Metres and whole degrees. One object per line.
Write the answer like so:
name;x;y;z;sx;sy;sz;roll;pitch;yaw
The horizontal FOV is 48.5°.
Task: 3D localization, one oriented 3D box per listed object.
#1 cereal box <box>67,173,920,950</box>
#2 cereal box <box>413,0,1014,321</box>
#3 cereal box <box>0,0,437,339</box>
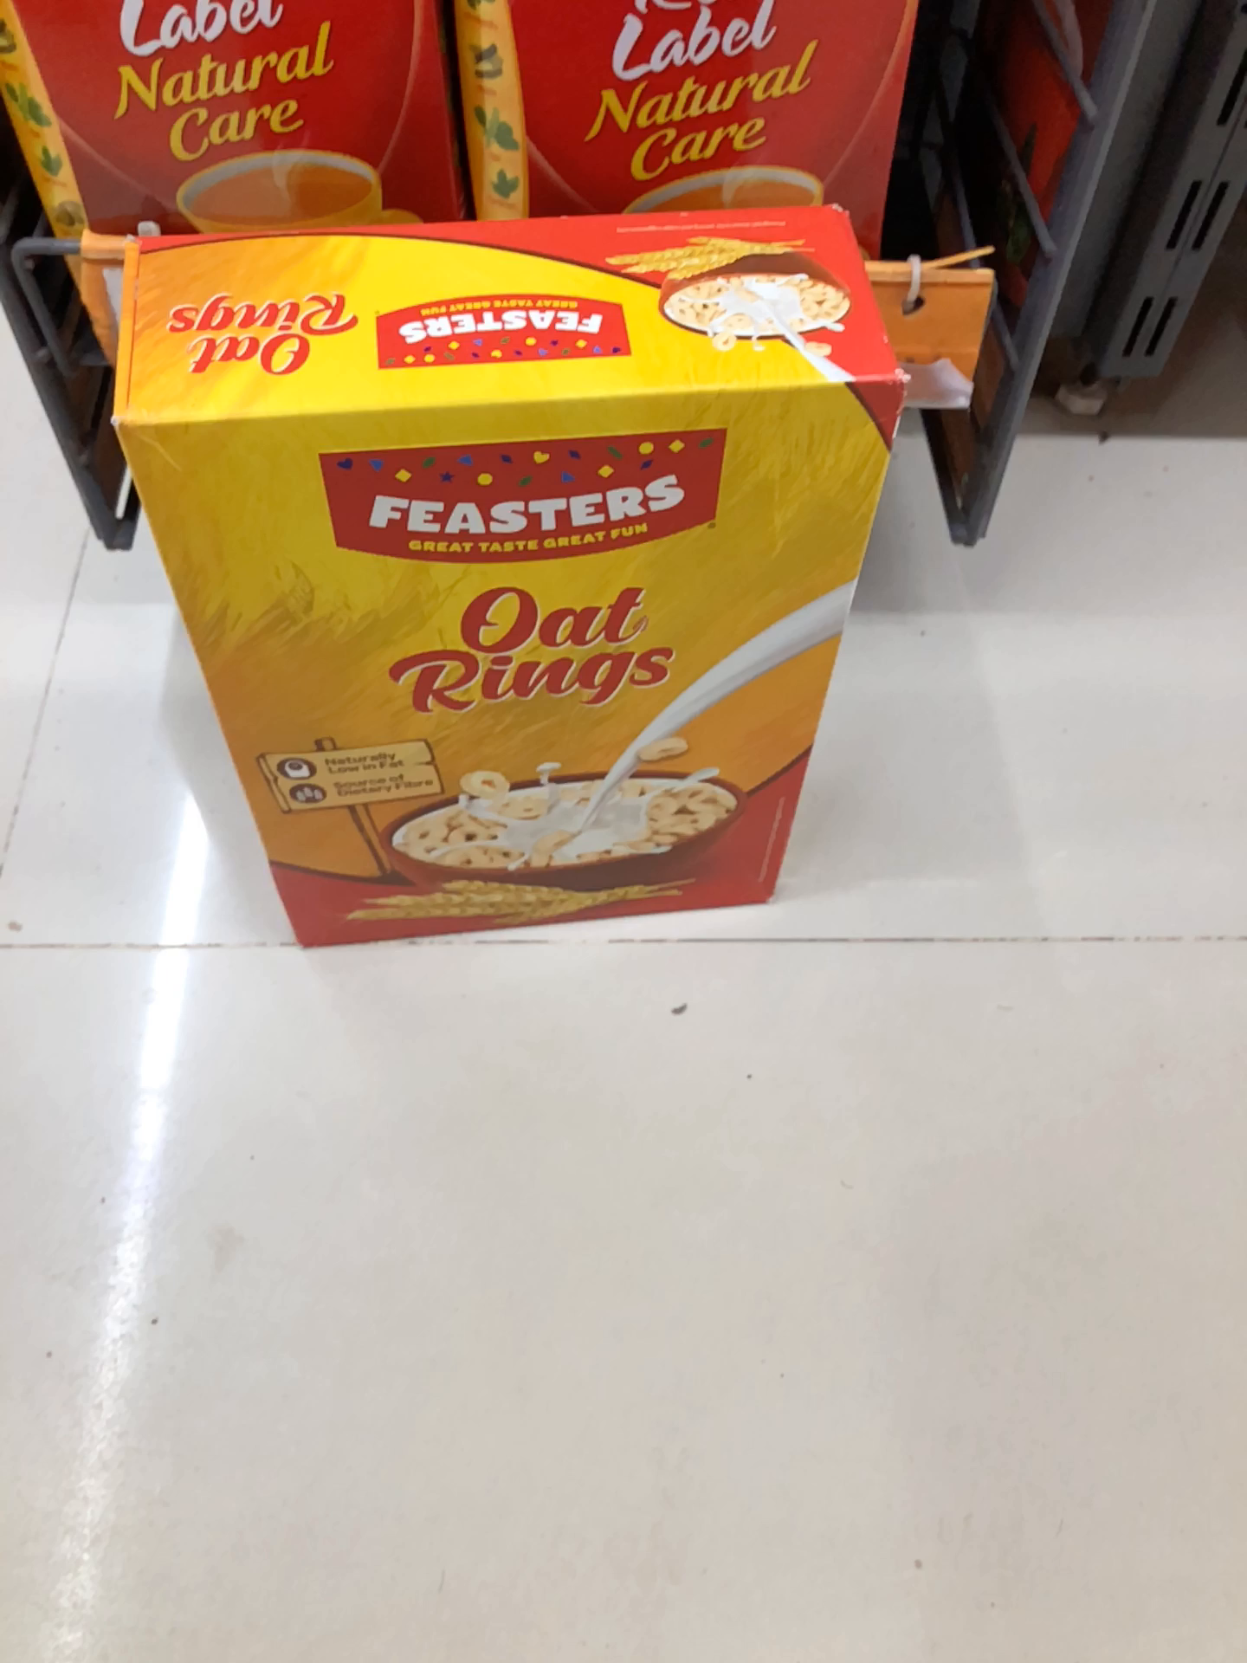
cereal box;-0.033;-0.058;0.387;0.170;0.219;0.070;-5;57;-7
cereal box;0.013;-0.227;0.366;0.120;0.149;0.080;-6;57;-7
cereal box;-0.118;-0.233;0.383;0.120;0.169;0.080;-2;57;-4
